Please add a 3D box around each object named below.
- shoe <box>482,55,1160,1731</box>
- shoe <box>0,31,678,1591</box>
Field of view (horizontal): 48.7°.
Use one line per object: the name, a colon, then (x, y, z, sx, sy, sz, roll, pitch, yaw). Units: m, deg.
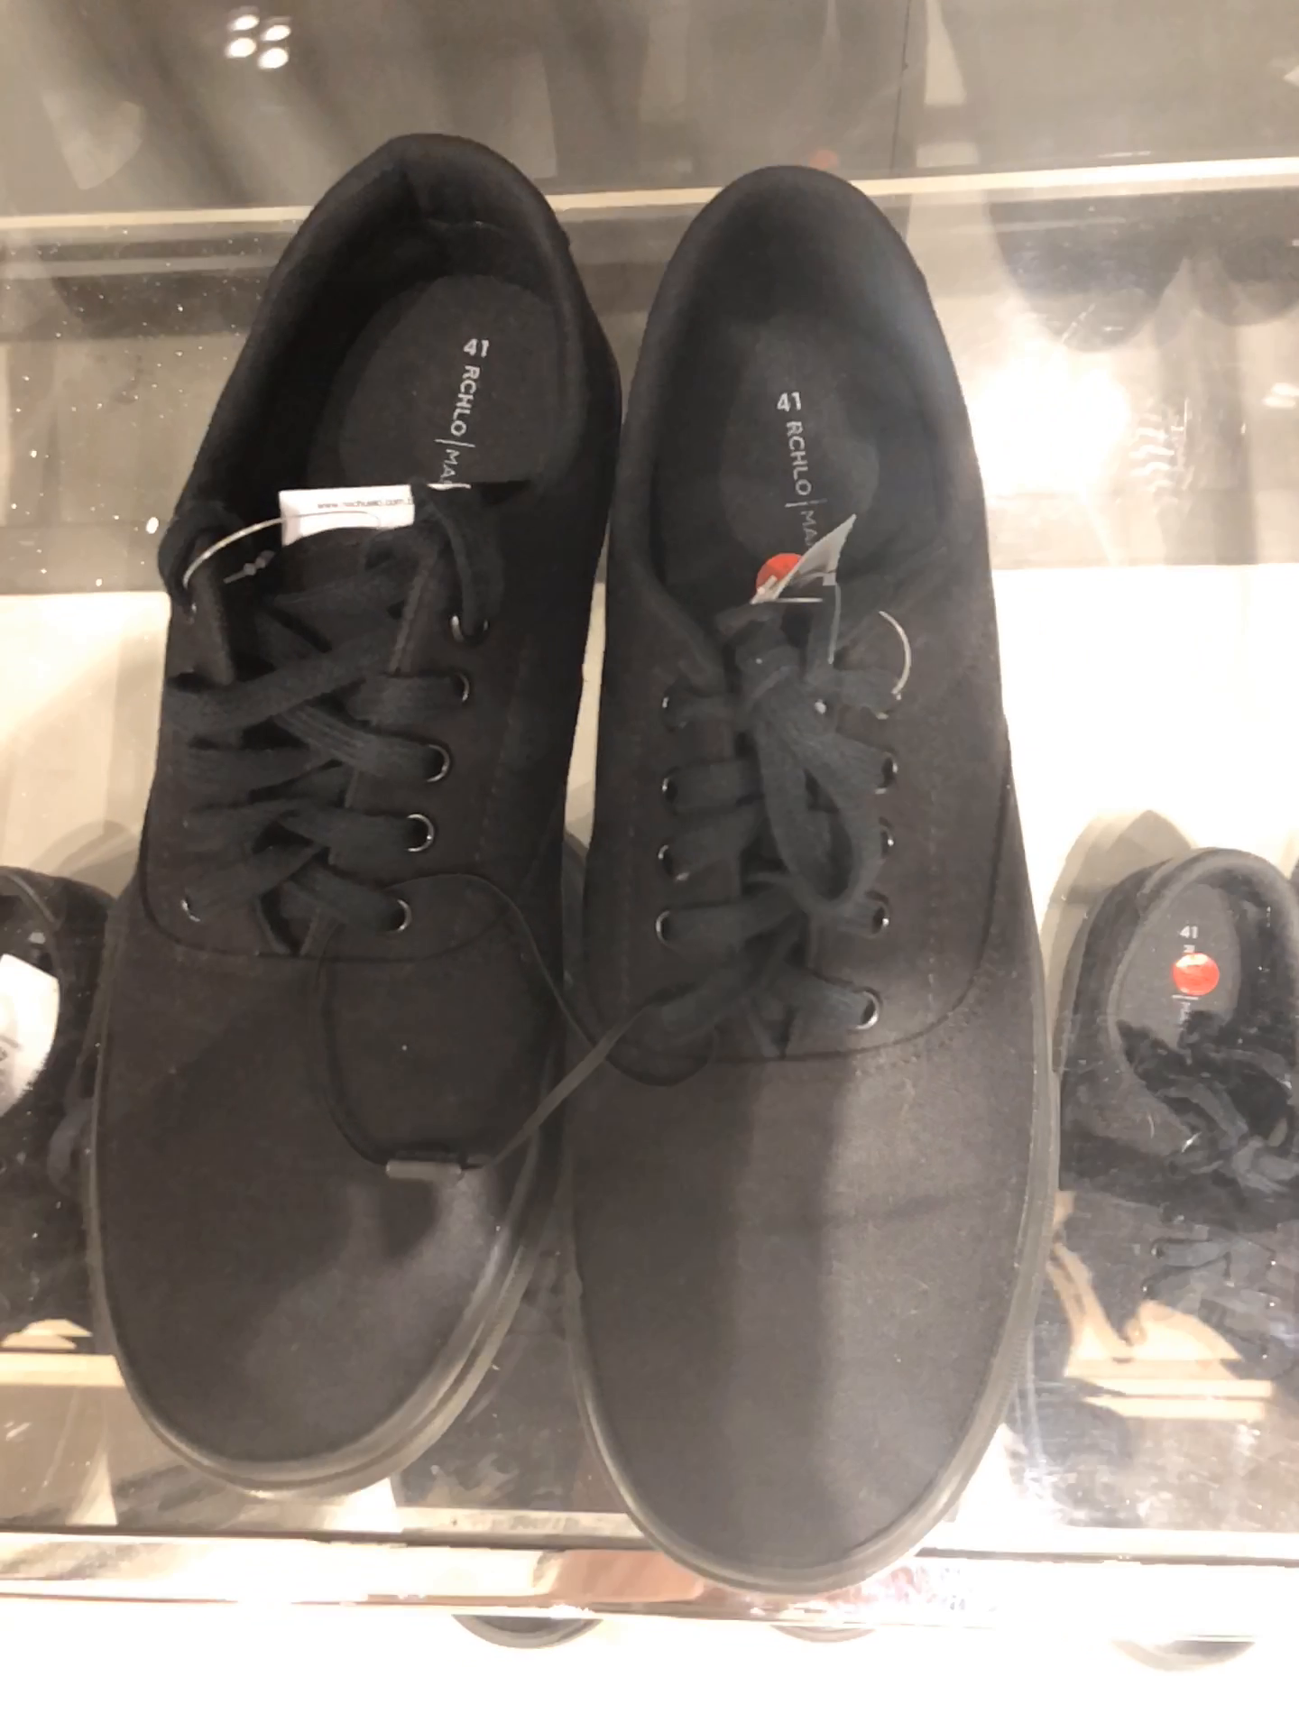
shoe: (0.035, -0.003, 0.325, 0.110, 0.110, 0.320, 0, 77, 5)
shoe: (-0.068, -0.021, 0.345, 0.110, 0.110, 0.320, 5, 77, 6)
